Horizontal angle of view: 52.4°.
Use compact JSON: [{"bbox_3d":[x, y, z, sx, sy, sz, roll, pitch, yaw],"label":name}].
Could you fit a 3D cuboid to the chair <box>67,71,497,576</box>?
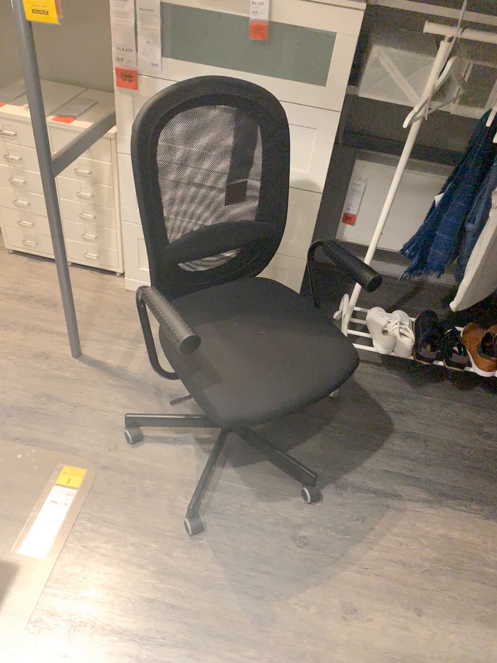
[{"bbox_3d":[0.016,-0.035,1.322,0.641,0.976,0.682,-19,48,-28],"label":"chair"}]
